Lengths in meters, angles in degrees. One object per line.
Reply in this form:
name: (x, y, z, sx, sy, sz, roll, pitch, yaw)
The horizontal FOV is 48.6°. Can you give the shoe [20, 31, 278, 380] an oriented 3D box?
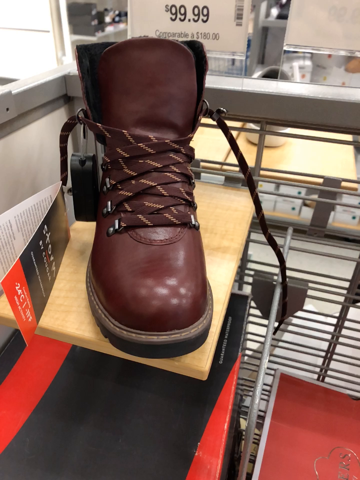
shoe: (-0.030, -0.049, 0.307, 0.107, 0.169, 0.232, -3, 35, -8)
